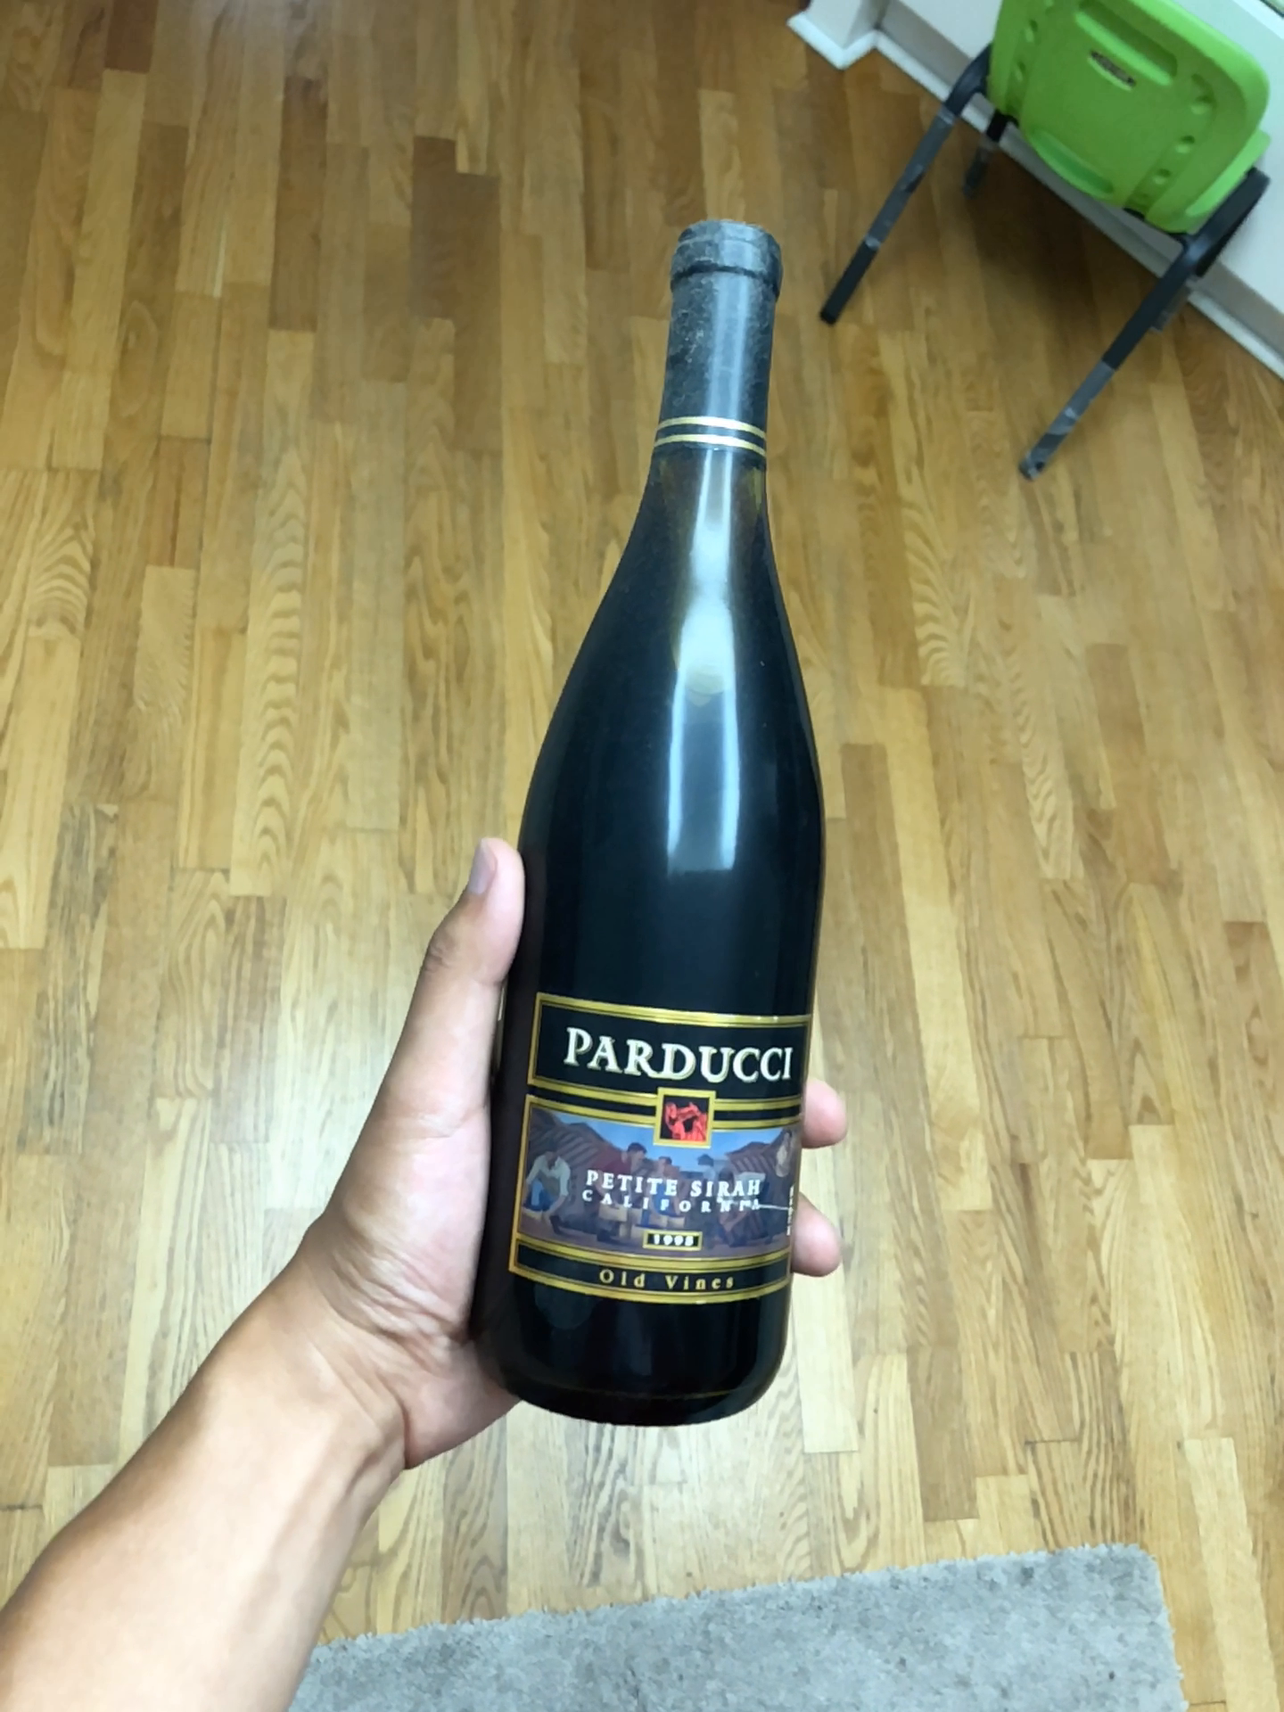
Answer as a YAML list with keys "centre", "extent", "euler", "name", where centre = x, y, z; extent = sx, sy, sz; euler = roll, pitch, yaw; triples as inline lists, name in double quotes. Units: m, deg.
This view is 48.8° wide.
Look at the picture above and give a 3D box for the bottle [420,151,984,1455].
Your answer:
- centre: [0.008, -0.007, 0.348]
  extent: [0.090, 0.070, 0.280]
  euler: [7, 93, -11]
  name: "bottle"
